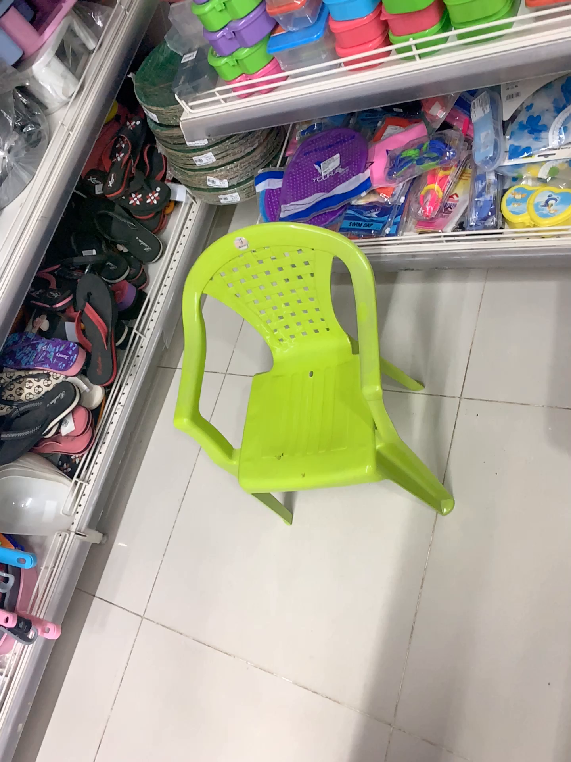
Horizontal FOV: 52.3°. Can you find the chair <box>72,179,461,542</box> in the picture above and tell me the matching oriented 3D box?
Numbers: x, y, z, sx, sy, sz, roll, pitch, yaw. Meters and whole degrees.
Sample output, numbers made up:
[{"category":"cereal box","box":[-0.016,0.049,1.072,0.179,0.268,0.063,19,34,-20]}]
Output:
[{"category":"chair","box":[0.015,0.030,0.930,0.391,0.468,0.360,-9,62,28]}]
